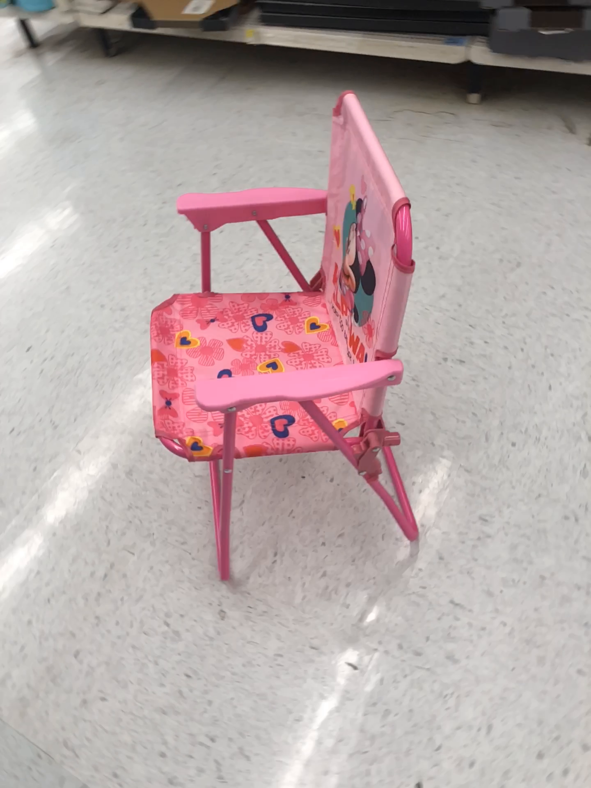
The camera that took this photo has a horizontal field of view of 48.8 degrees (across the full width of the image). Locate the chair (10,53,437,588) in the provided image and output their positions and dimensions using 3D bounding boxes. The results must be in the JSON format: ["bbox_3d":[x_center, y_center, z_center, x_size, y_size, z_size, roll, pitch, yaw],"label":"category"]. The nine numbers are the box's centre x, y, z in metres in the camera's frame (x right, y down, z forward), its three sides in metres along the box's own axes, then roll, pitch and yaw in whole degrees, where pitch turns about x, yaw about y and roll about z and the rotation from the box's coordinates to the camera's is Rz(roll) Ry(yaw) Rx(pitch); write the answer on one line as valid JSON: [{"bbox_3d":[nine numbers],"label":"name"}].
[{"bbox_3d":[-0.046,-0.059,0.808,0.340,0.488,0.361,-12,50,1],"label":"chair"}]
